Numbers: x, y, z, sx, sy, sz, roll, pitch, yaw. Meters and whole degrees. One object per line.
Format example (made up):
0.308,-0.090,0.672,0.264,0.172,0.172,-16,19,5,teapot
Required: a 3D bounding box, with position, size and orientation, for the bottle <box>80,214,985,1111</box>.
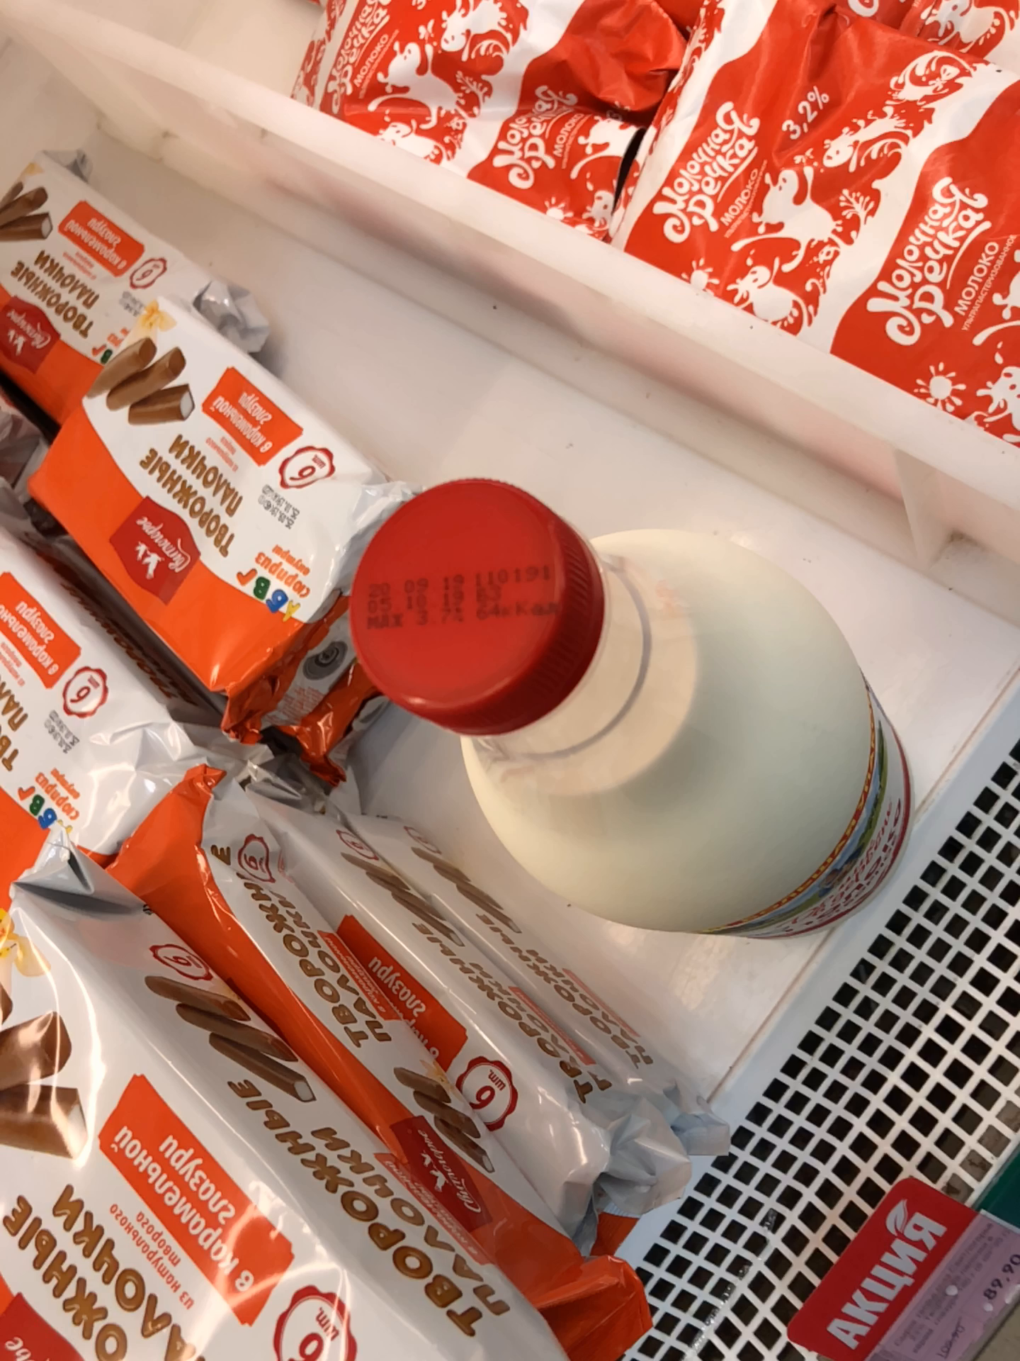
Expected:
0.045,0.021,0.298,0.090,0.279,0.110,42,96,27,bottle
